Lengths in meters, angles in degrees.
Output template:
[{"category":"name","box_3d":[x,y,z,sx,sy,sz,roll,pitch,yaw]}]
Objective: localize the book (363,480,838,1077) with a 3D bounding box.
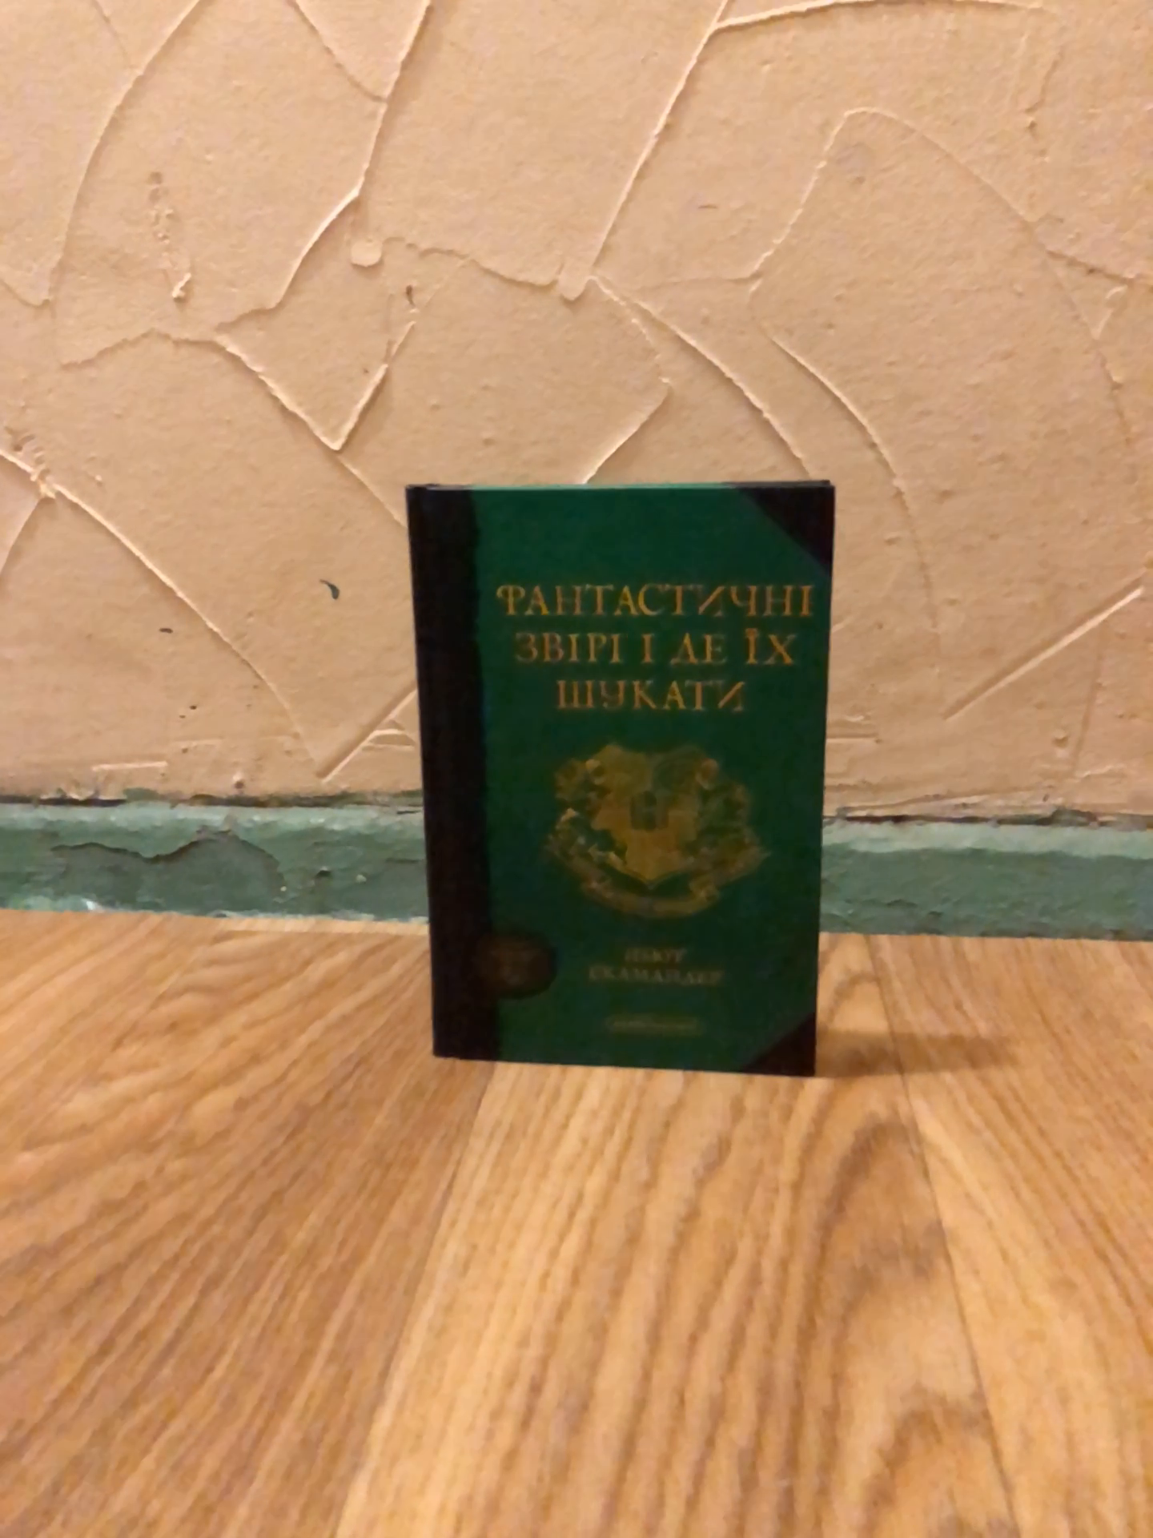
[{"category":"book","box_3d":[0.009,0.005,0.427,0.148,0.197,0.024,1,15,8]}]
